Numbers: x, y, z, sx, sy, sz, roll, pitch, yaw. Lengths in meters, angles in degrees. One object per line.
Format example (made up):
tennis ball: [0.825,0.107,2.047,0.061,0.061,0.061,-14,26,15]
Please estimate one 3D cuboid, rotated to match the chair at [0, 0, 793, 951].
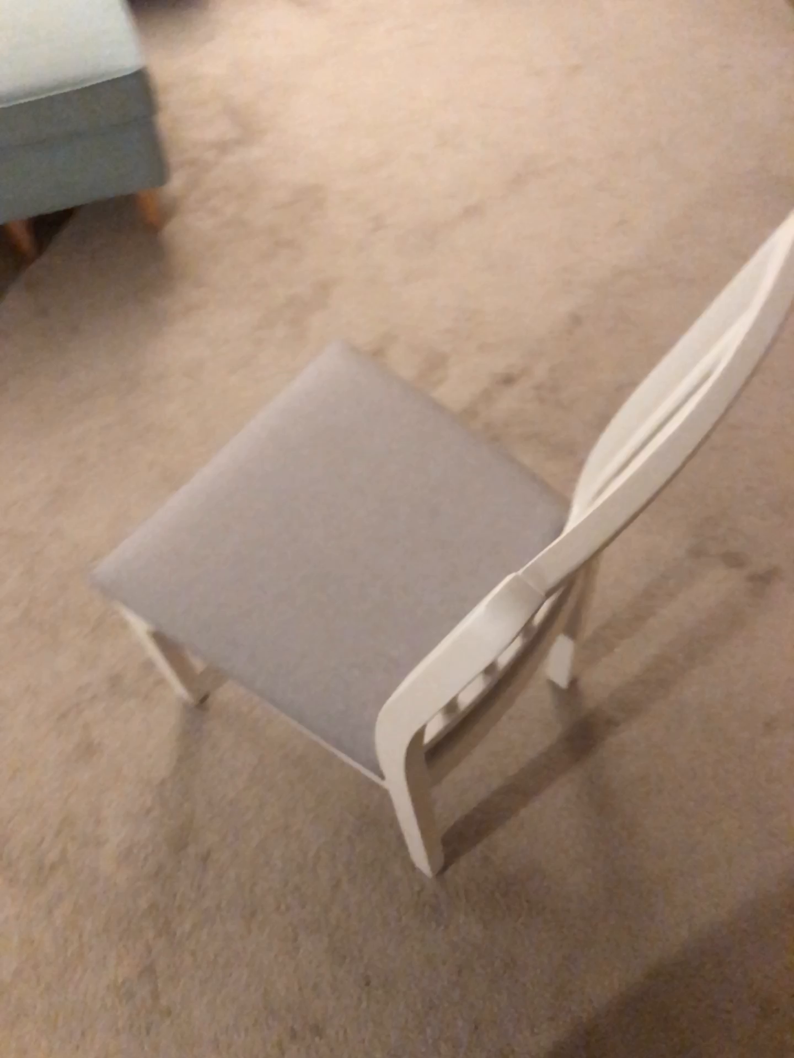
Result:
chair: [-0.043,0.016,0.948,0.551,0.906,0.501,36,67,19]
